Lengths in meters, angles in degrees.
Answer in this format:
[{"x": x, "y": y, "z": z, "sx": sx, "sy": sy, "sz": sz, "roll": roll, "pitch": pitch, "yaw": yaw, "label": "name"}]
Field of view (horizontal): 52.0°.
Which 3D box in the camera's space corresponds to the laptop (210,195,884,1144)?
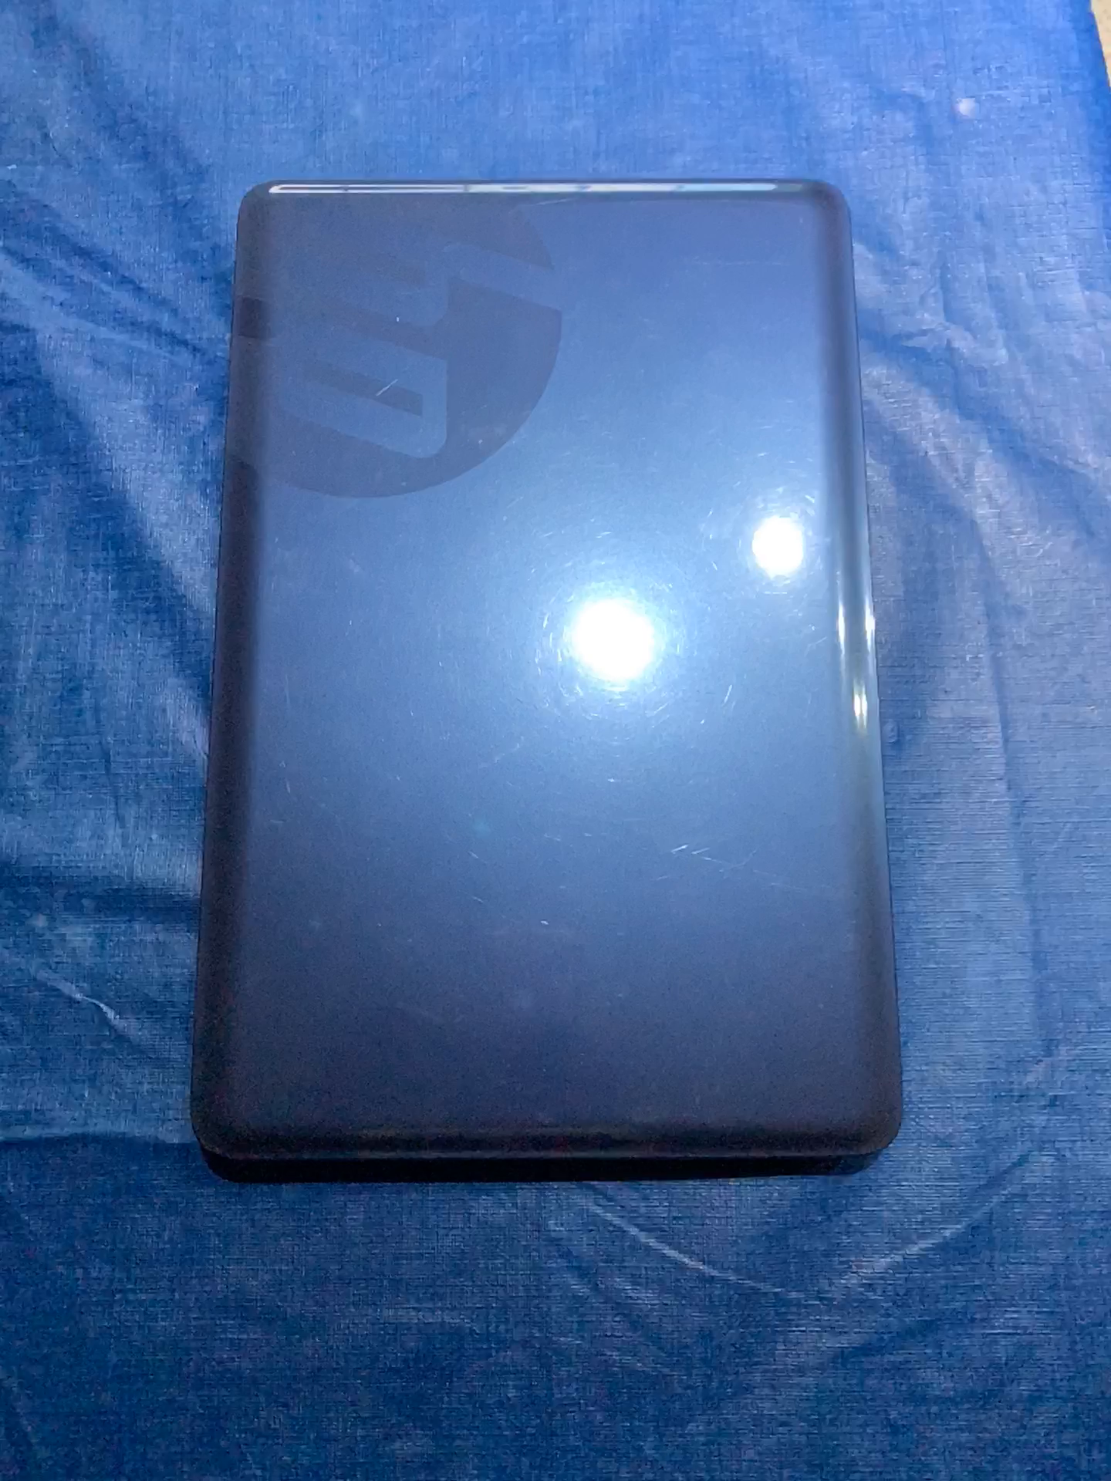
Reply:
[{"x": -0.003, "y": -0.039, "z": 0.433, "sx": 0.235, "sy": 0.009, "sz": 0.364, "roll": 0, "pitch": 80, "yaw": -1, "label": "laptop"}]
